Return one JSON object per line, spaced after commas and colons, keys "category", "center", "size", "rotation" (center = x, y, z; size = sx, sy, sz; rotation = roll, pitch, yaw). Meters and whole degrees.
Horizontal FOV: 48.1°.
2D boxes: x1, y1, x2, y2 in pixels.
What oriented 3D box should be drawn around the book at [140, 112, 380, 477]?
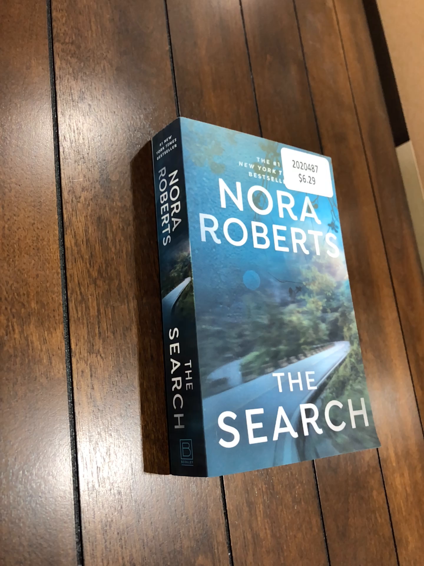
{"category": "book", "center": [0.024, 0.007, 0.264], "size": [0.108, 0.050, 0.170], "rotation": [5, 73, -32]}
